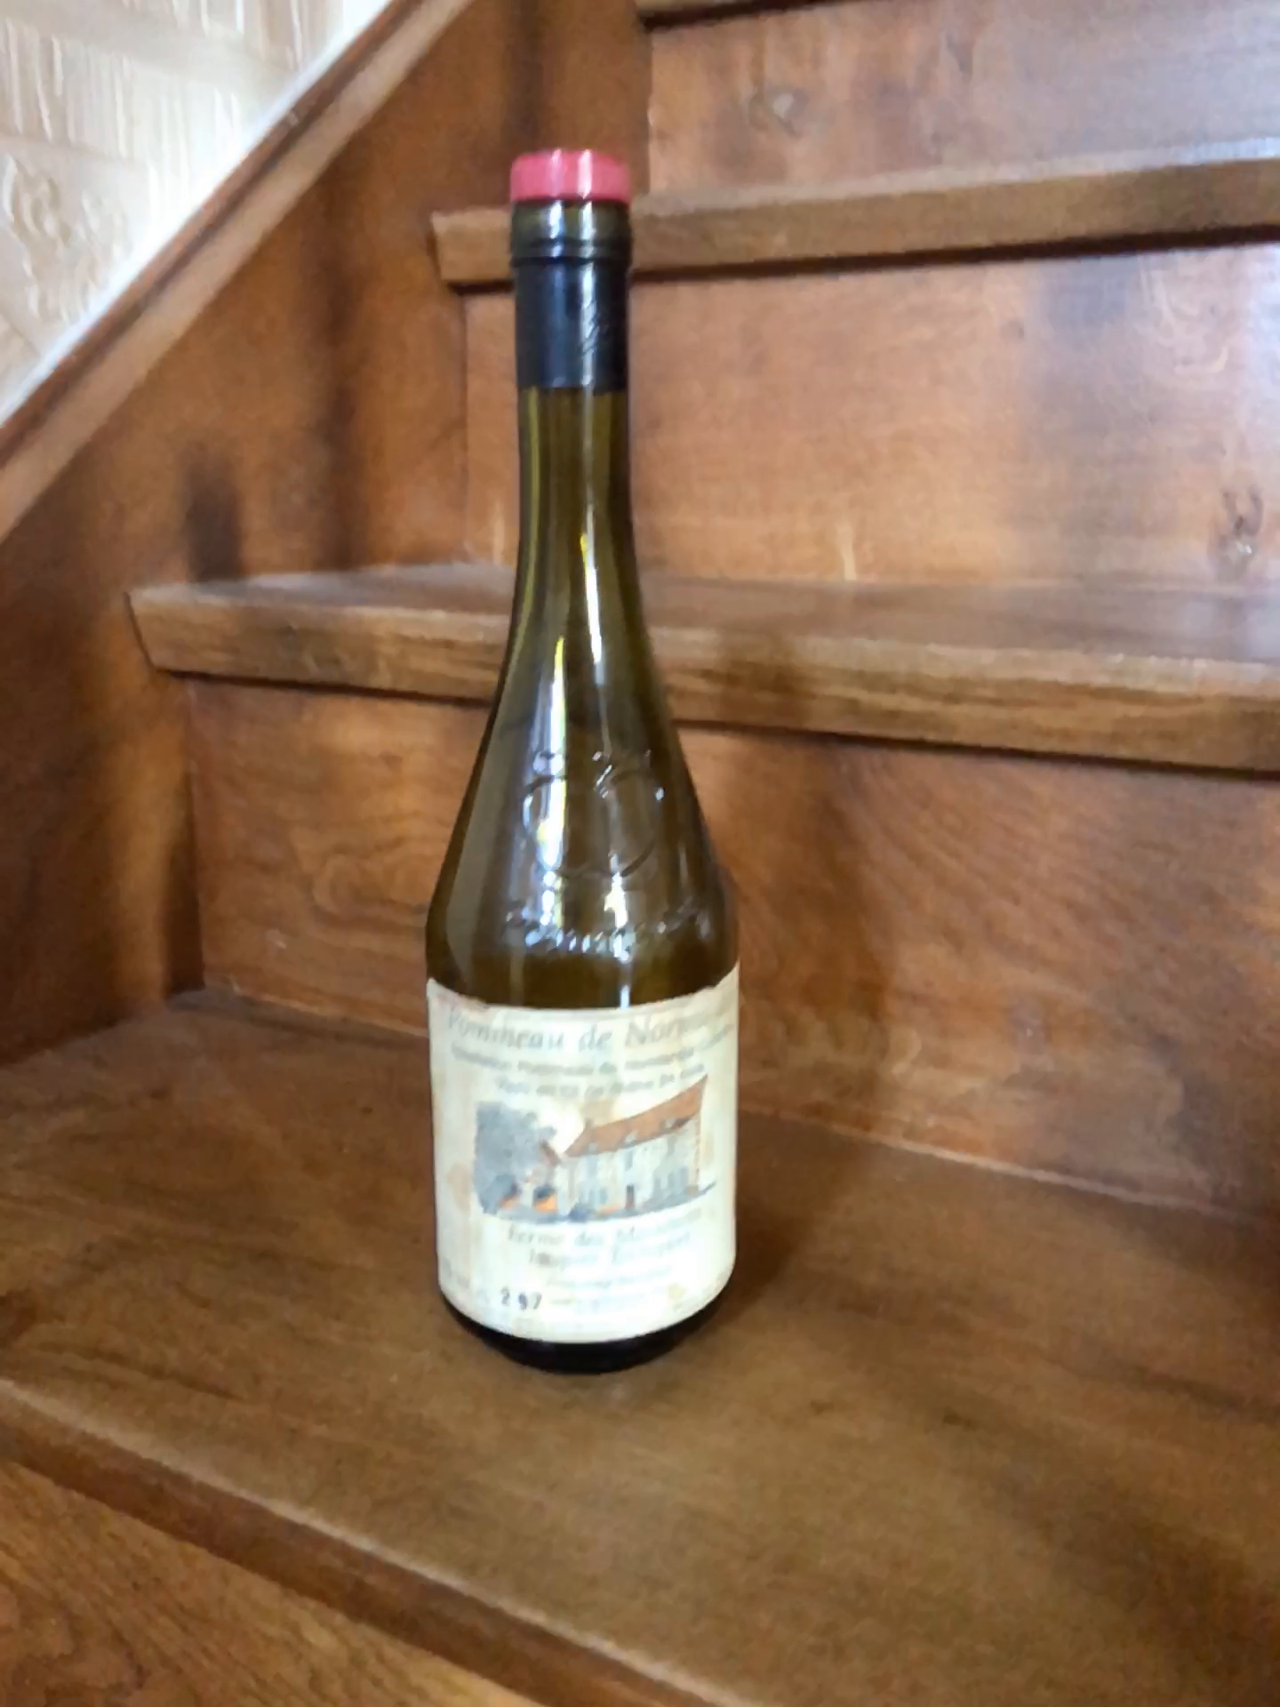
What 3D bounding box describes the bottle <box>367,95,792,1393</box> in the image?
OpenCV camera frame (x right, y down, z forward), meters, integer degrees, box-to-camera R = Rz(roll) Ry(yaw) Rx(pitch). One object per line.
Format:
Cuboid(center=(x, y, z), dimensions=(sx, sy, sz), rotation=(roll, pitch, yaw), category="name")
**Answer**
Cuboid(center=(-0.016, -0.021, 0.379), dimensions=(0.090, 0.309, 0.090), rotation=(0, 14, 0), category="bottle")
